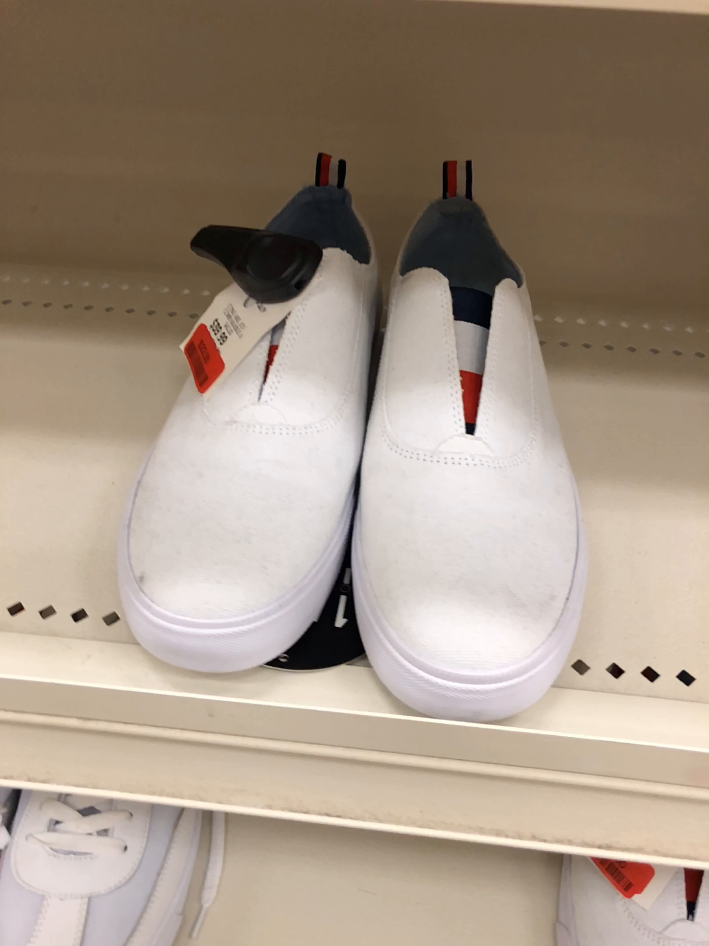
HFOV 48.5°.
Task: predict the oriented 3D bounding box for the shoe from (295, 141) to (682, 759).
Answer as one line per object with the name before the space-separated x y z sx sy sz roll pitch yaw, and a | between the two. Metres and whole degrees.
shoe | 0.052 -0.044 0.355 0.100 0.109 0.303 5 39 5

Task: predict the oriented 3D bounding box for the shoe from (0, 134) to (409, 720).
shoe | -0.040 -0.053 0.338 0.100 0.089 0.293 5 39 5
